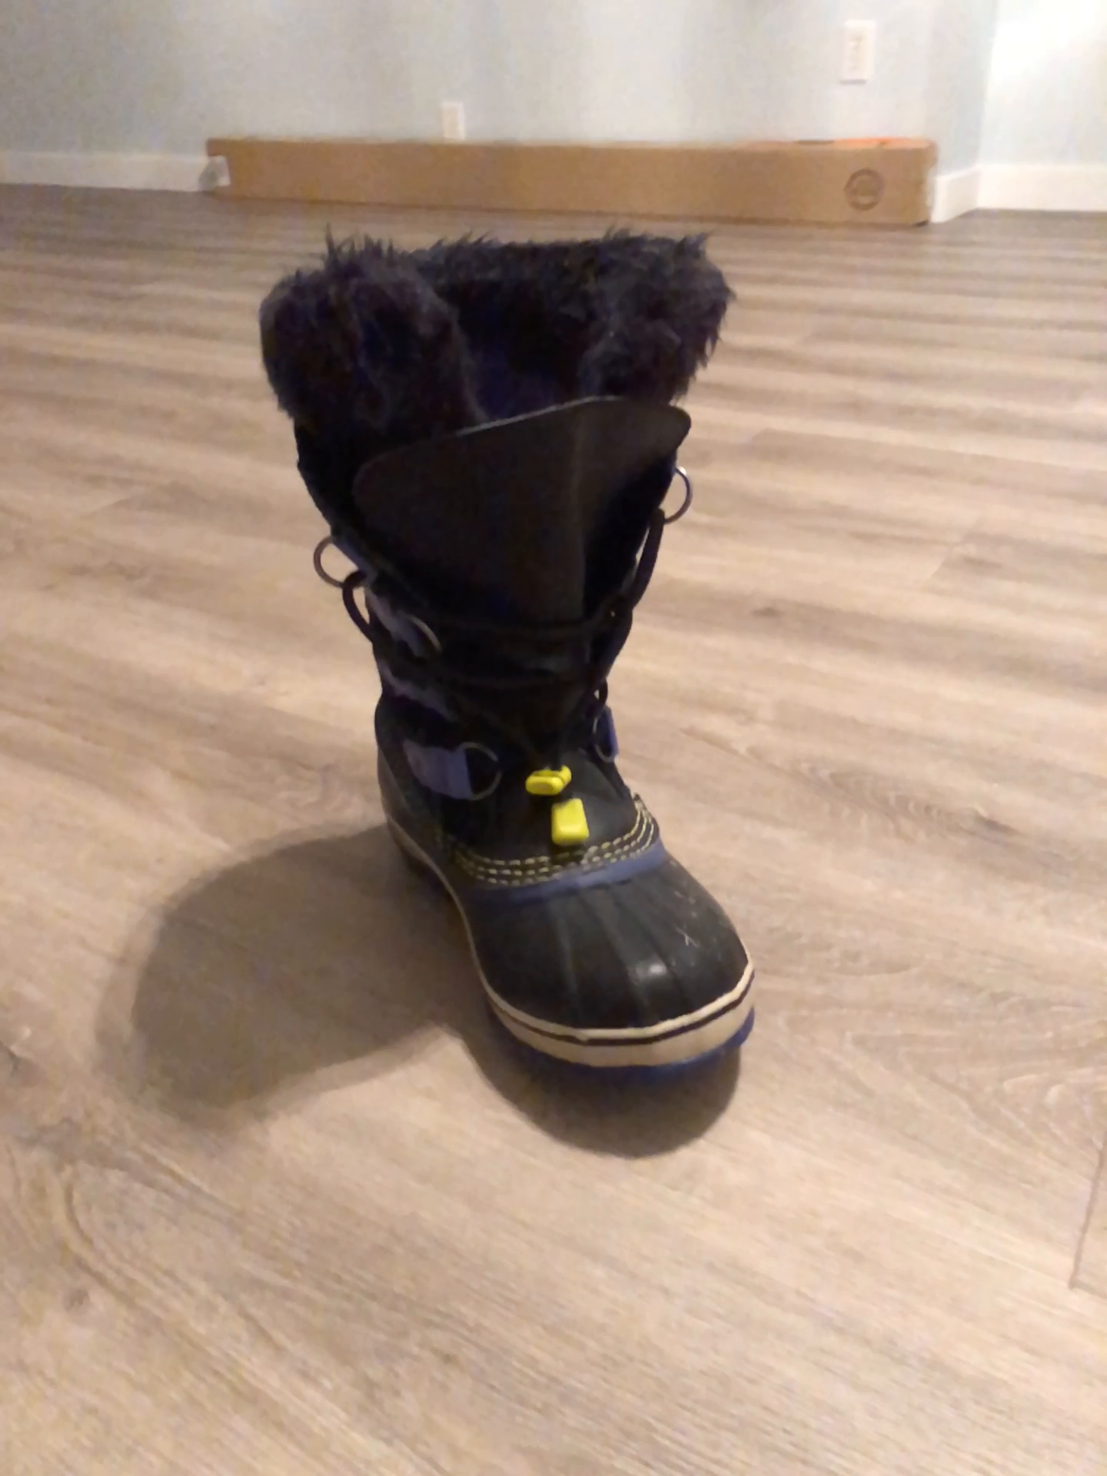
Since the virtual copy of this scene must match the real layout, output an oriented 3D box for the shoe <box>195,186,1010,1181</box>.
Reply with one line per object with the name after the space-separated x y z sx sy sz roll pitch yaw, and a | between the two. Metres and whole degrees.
-0.003 -0.046 0.458 0.170 0.269 0.241 -14 31 -22 | shoe
